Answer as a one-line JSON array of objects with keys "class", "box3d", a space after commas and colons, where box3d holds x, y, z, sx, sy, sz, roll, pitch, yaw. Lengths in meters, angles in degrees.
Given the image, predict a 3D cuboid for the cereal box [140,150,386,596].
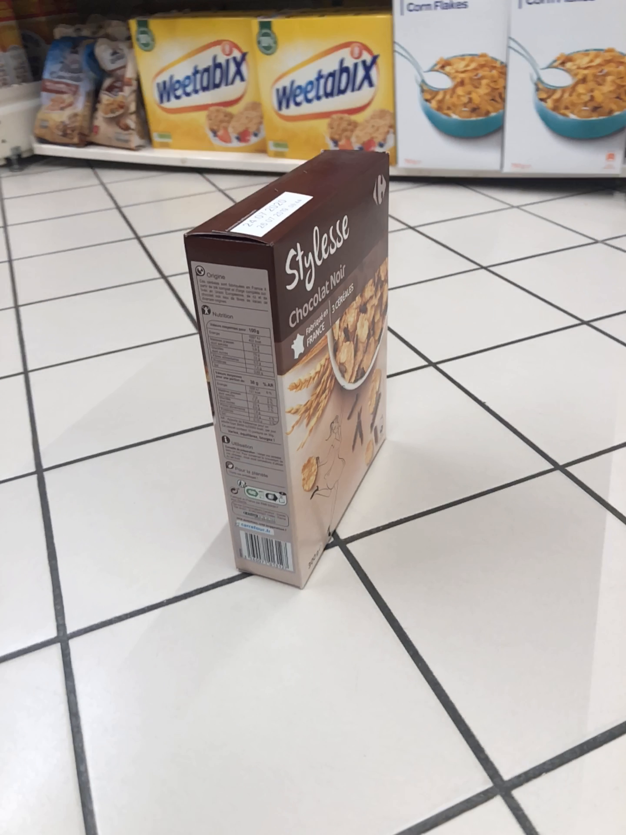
[{"class": "cereal box", "box3d": [-0.013, -0.040, 0.485, 0.070, 0.238, 0.201, 10, 35, 20]}]
